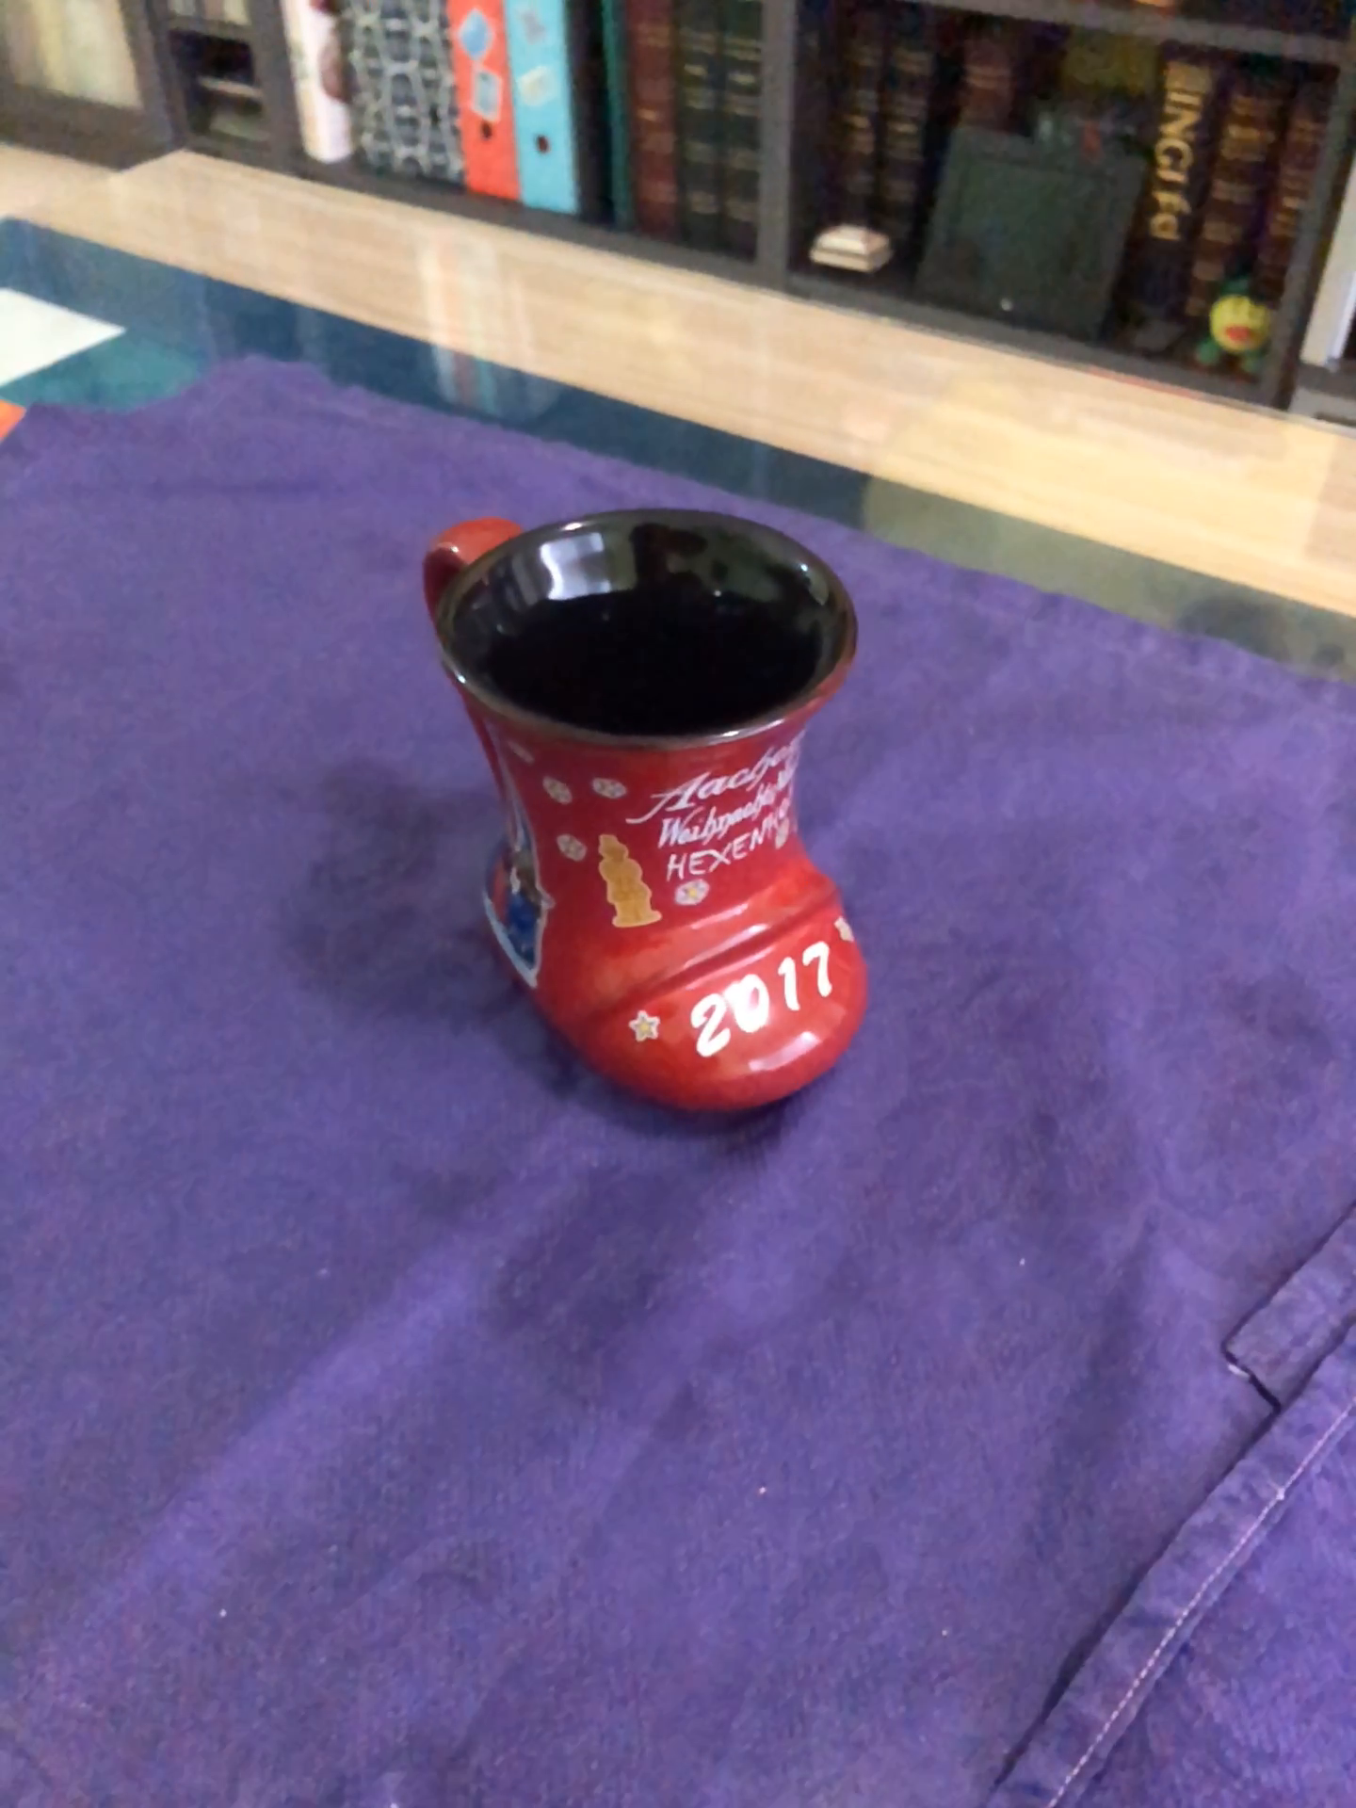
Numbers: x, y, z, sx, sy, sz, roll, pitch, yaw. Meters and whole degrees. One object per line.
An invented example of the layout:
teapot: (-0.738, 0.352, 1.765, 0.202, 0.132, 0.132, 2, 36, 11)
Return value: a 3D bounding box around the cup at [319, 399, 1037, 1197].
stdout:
cup: (-0.004, -0.026, 0.300, 0.070, 0.090, 0.120, -27, 49, -25)
